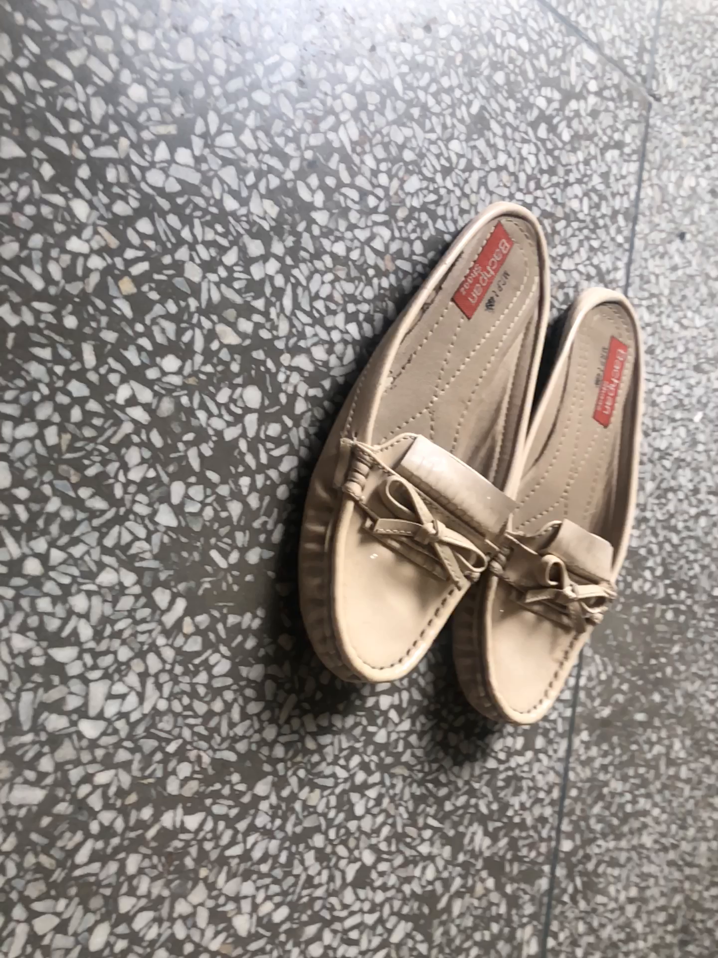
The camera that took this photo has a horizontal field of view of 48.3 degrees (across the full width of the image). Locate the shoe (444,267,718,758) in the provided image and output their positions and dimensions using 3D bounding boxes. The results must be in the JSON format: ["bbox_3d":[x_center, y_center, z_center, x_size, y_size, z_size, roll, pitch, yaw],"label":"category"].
[{"bbox_3d":[0.114,0.015,0.381,0.080,0.040,0.210,29,76,-35],"label":"shoe"}]

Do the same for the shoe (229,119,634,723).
[{"bbox_3d":[0.039,-0.024,0.329,0.091,0.040,0.220,34,73,-34],"label":"shoe"}]
